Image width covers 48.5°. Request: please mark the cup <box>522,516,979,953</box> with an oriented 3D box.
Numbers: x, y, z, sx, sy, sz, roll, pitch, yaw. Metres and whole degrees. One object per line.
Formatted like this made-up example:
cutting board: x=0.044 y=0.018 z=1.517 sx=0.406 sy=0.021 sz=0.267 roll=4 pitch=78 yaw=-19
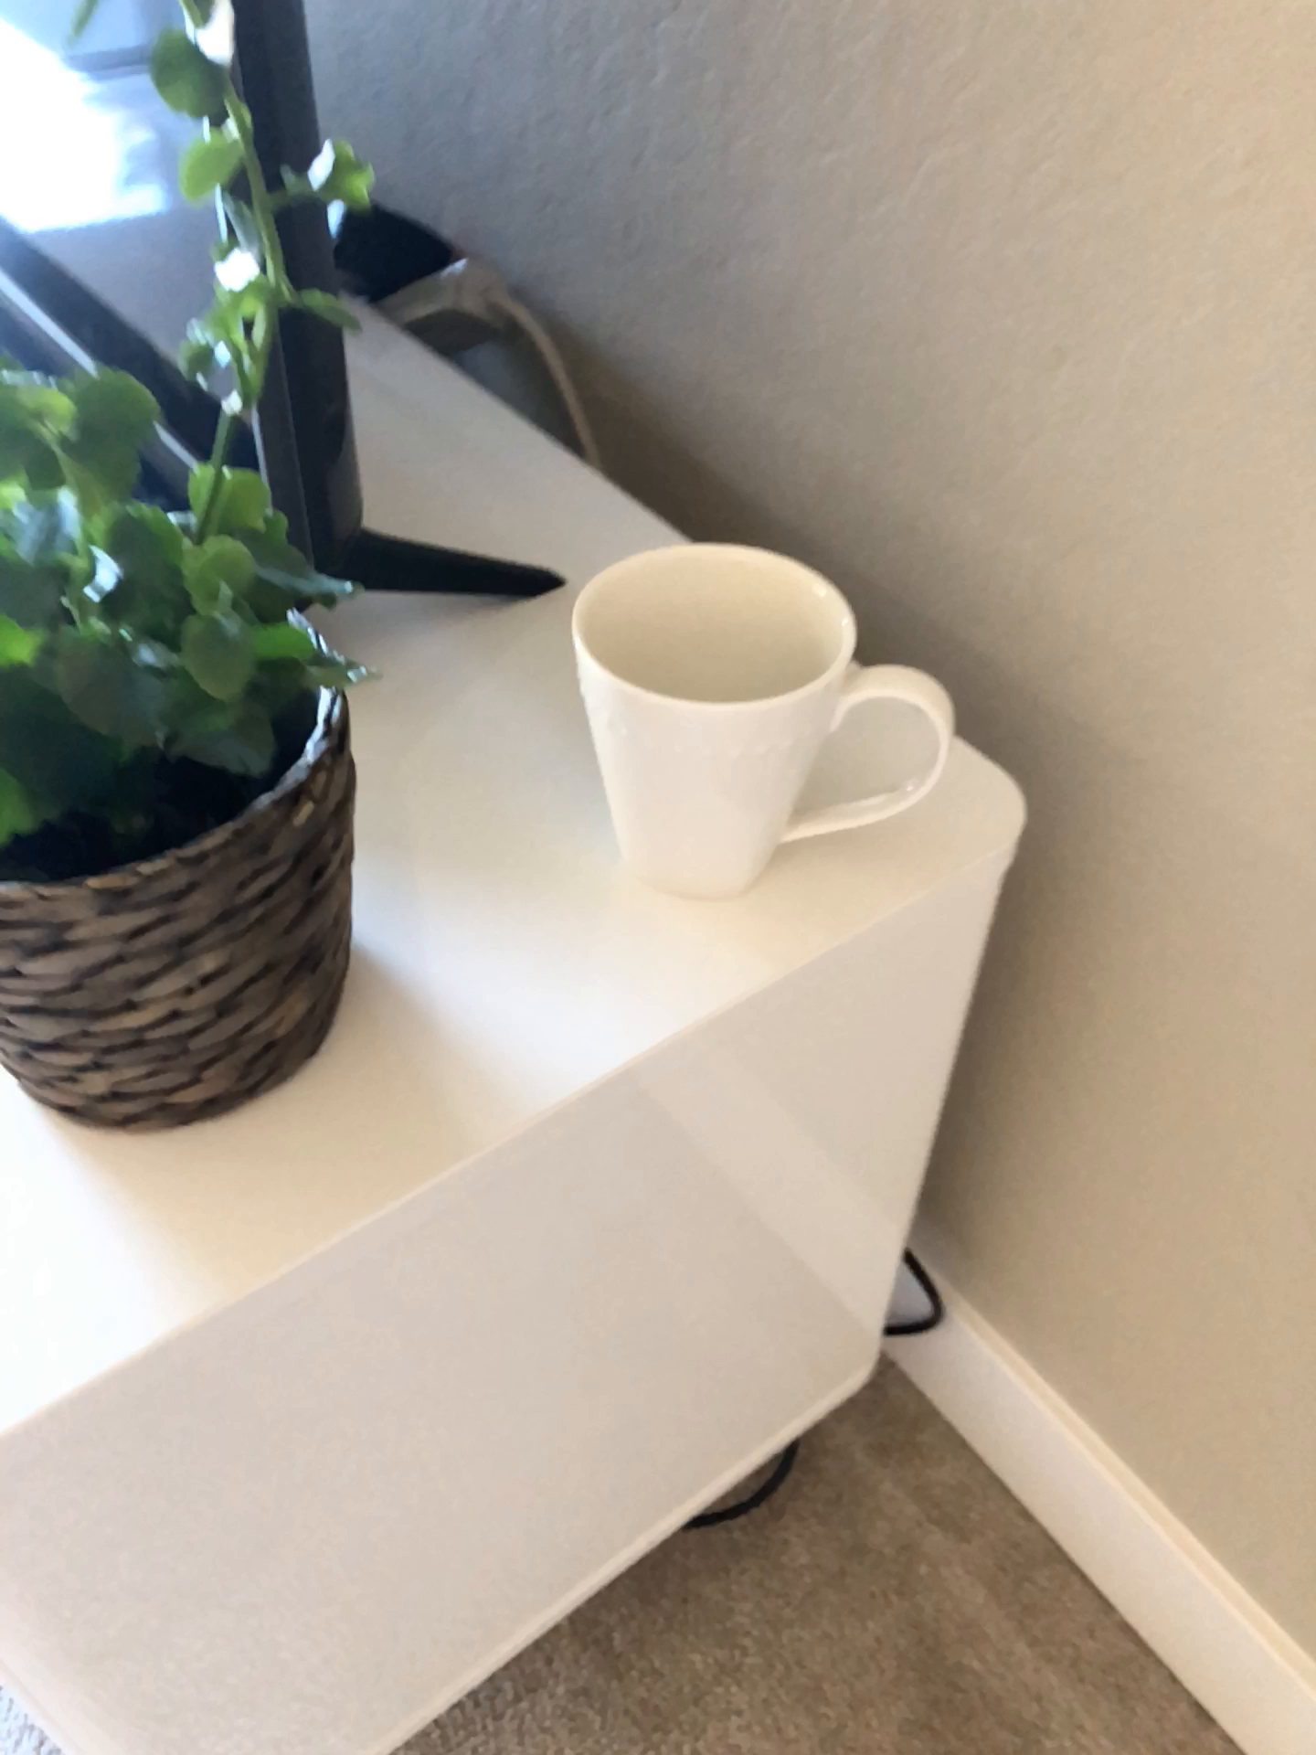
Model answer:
cup: x=0.032 y=-0.051 z=0.502 sx=0.130 sy=0.090 sz=0.090 roll=13 pitch=45 yaw=10
